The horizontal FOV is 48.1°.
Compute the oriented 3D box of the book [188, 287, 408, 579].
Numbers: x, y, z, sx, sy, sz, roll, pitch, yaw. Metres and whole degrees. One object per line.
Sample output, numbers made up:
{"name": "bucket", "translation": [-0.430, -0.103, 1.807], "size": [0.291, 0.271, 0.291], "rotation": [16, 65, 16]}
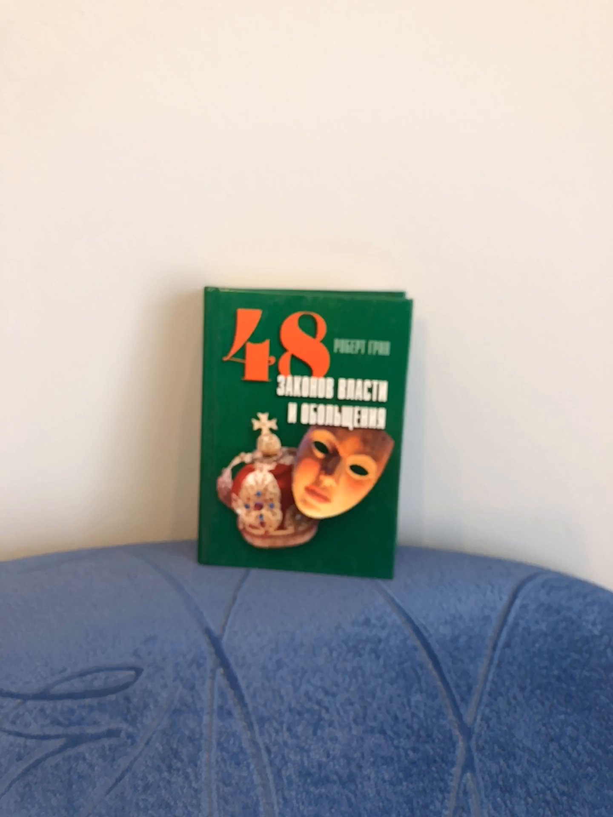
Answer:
{"name": "book", "translation": [-0.003, 0.009, 0.364], "size": [0.106, 0.141, 0.050], "rotation": [3, 9, 8]}
